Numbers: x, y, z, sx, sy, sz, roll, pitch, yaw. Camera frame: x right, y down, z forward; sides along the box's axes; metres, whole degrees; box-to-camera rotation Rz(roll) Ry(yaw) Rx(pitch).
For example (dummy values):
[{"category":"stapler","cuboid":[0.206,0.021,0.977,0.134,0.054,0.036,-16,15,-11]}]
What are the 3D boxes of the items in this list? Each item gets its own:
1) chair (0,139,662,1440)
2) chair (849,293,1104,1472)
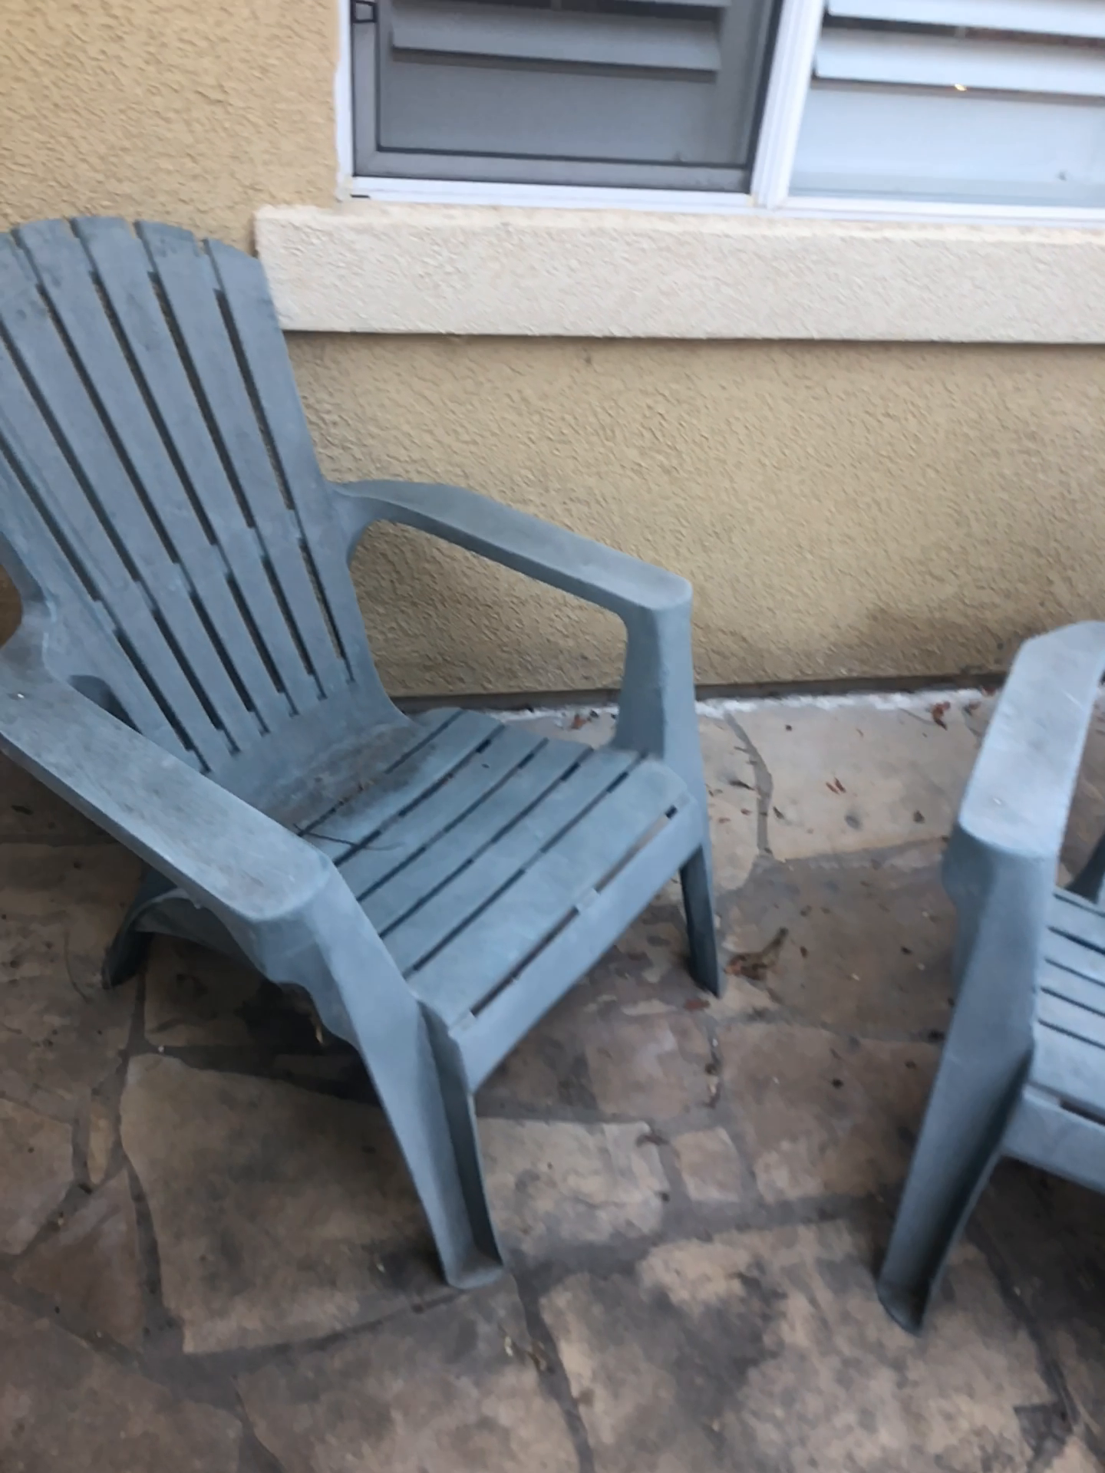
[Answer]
[{"category":"chair","cuboid":[-0.458,-0.020,1.532,0.910,1.220,0.746,18,36,28]},{"category":"chair","cuboid":[0.858,0.128,1.305,0.690,0.882,0.928,18,34,17]}]
